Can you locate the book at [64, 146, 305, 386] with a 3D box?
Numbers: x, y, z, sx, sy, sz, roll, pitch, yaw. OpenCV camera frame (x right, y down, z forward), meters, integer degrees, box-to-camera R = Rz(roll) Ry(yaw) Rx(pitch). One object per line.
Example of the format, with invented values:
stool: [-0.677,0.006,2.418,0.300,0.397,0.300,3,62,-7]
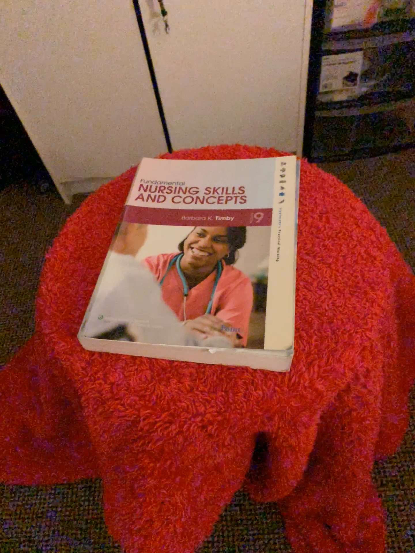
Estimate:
book: [-0.004,-0.035,0.518,0.230,0.069,0.302,3,54,11]
